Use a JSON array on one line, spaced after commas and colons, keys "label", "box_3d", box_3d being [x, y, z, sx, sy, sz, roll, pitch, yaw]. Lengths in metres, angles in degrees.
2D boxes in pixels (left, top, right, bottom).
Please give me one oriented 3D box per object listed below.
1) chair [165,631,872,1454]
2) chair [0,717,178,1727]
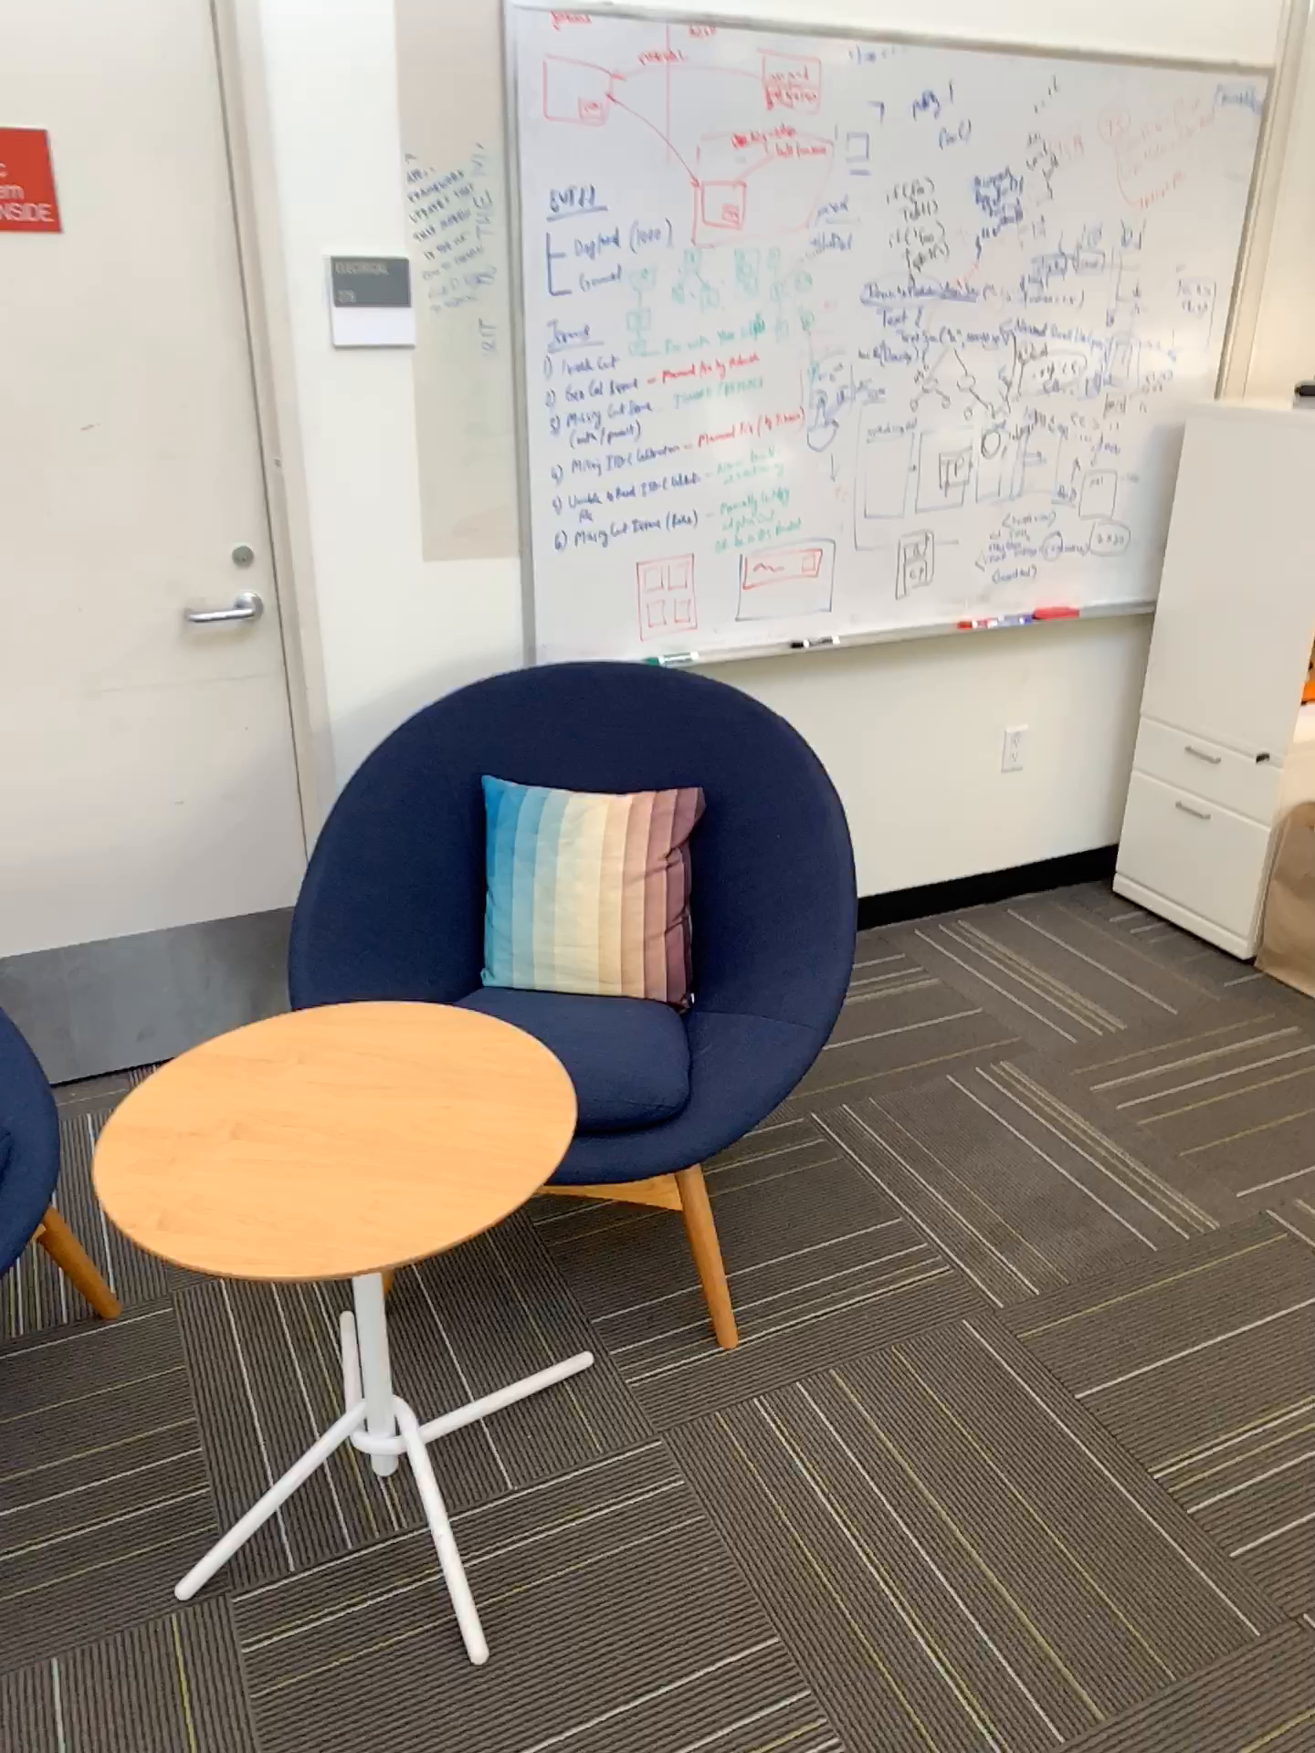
[{"label": "chair", "box_3d": [-0.137, 0.183, 2.328, 0.831, 0.945, 0.985, 7, 25, 14]}, {"label": "chair", "box_3d": [-1.270, 0.342, 1.722, 0.841, 0.835, 0.794, 5, 24, 12]}]
